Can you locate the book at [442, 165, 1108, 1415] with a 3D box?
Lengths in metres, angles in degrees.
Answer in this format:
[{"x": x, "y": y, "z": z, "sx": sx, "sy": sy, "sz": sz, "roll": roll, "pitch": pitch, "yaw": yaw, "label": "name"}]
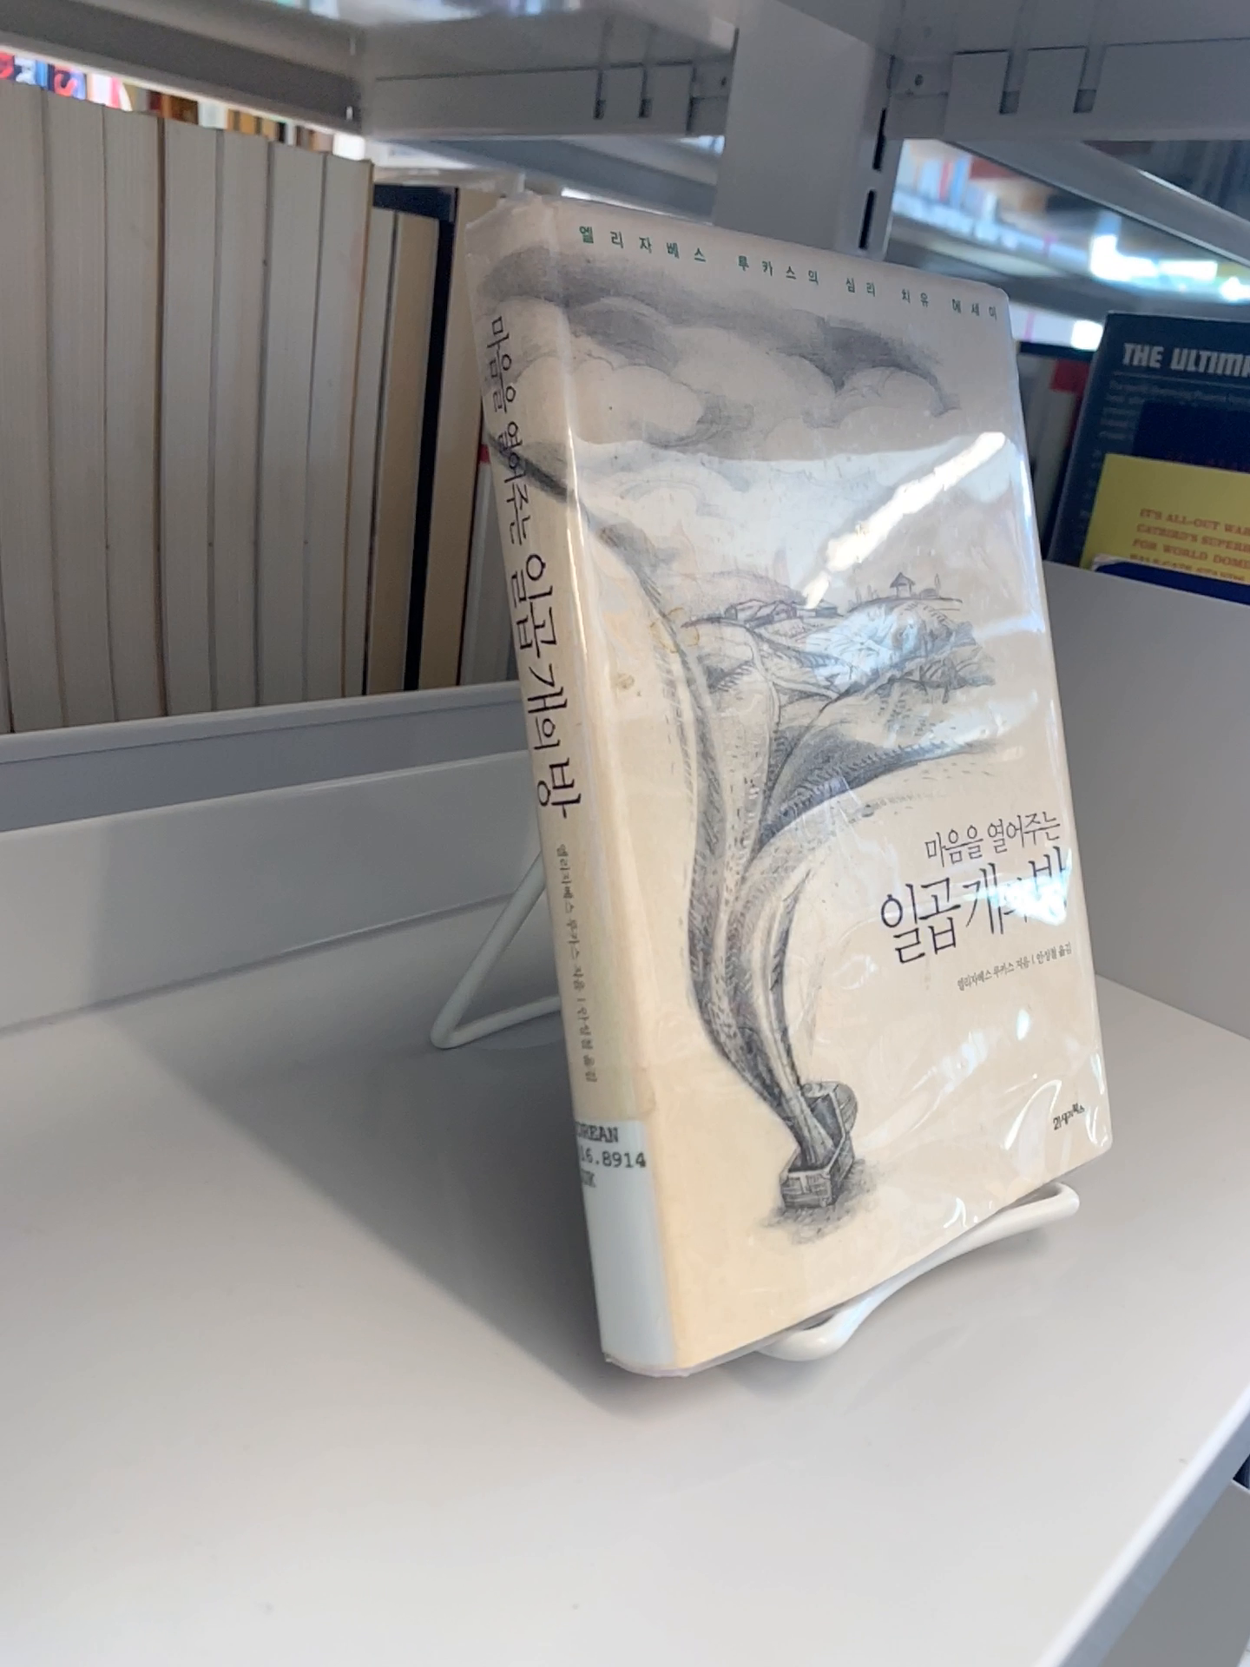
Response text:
[{"x": 0.039, "y": -0.013, "z": 0.249, "sx": 0.137, "sy": 0.192, "sz": 0.019, "roll": -9, "pitch": 4, "yaw": -39, "label": "book"}]
